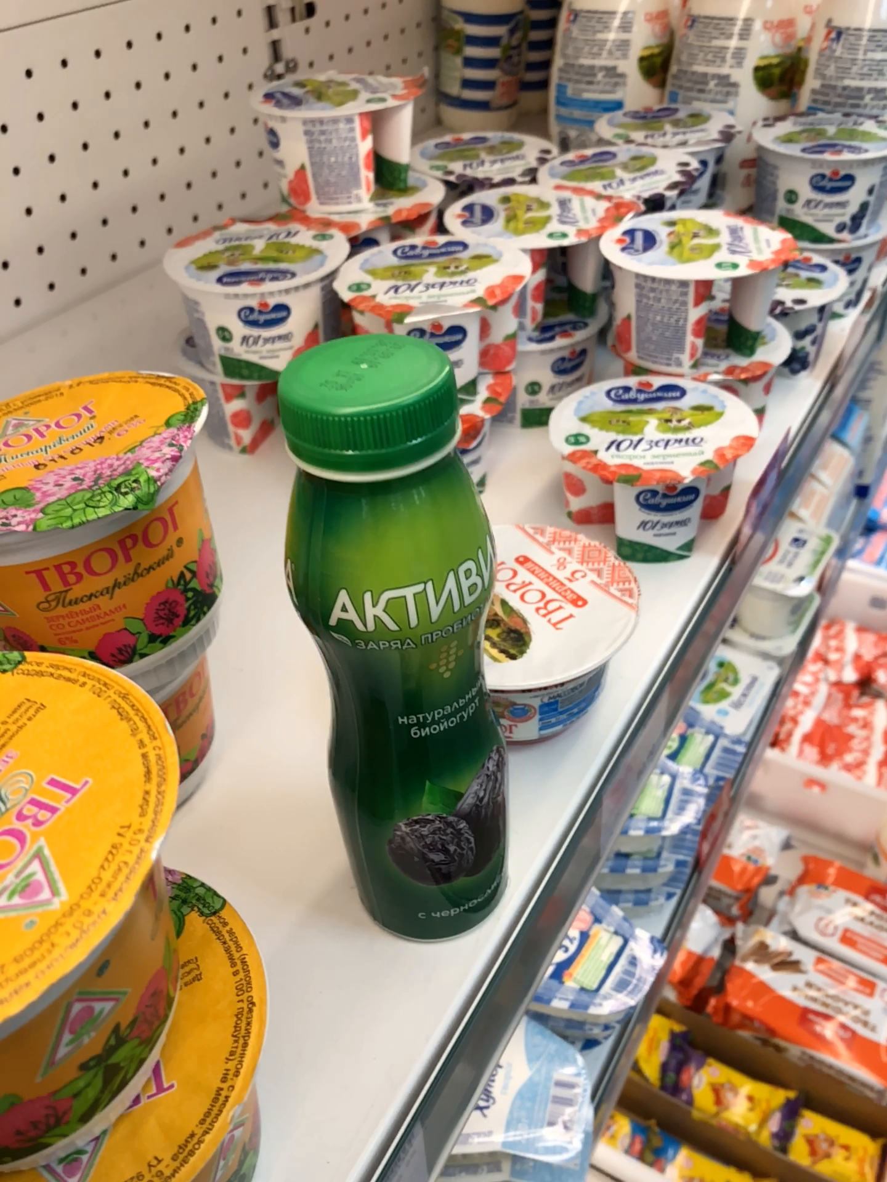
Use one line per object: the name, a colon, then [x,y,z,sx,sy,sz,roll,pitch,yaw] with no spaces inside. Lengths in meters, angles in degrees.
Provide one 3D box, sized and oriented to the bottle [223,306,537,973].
bottle: [-0.011,0.024,0.276,0.050,0.185,0.054,-2,39,2]
